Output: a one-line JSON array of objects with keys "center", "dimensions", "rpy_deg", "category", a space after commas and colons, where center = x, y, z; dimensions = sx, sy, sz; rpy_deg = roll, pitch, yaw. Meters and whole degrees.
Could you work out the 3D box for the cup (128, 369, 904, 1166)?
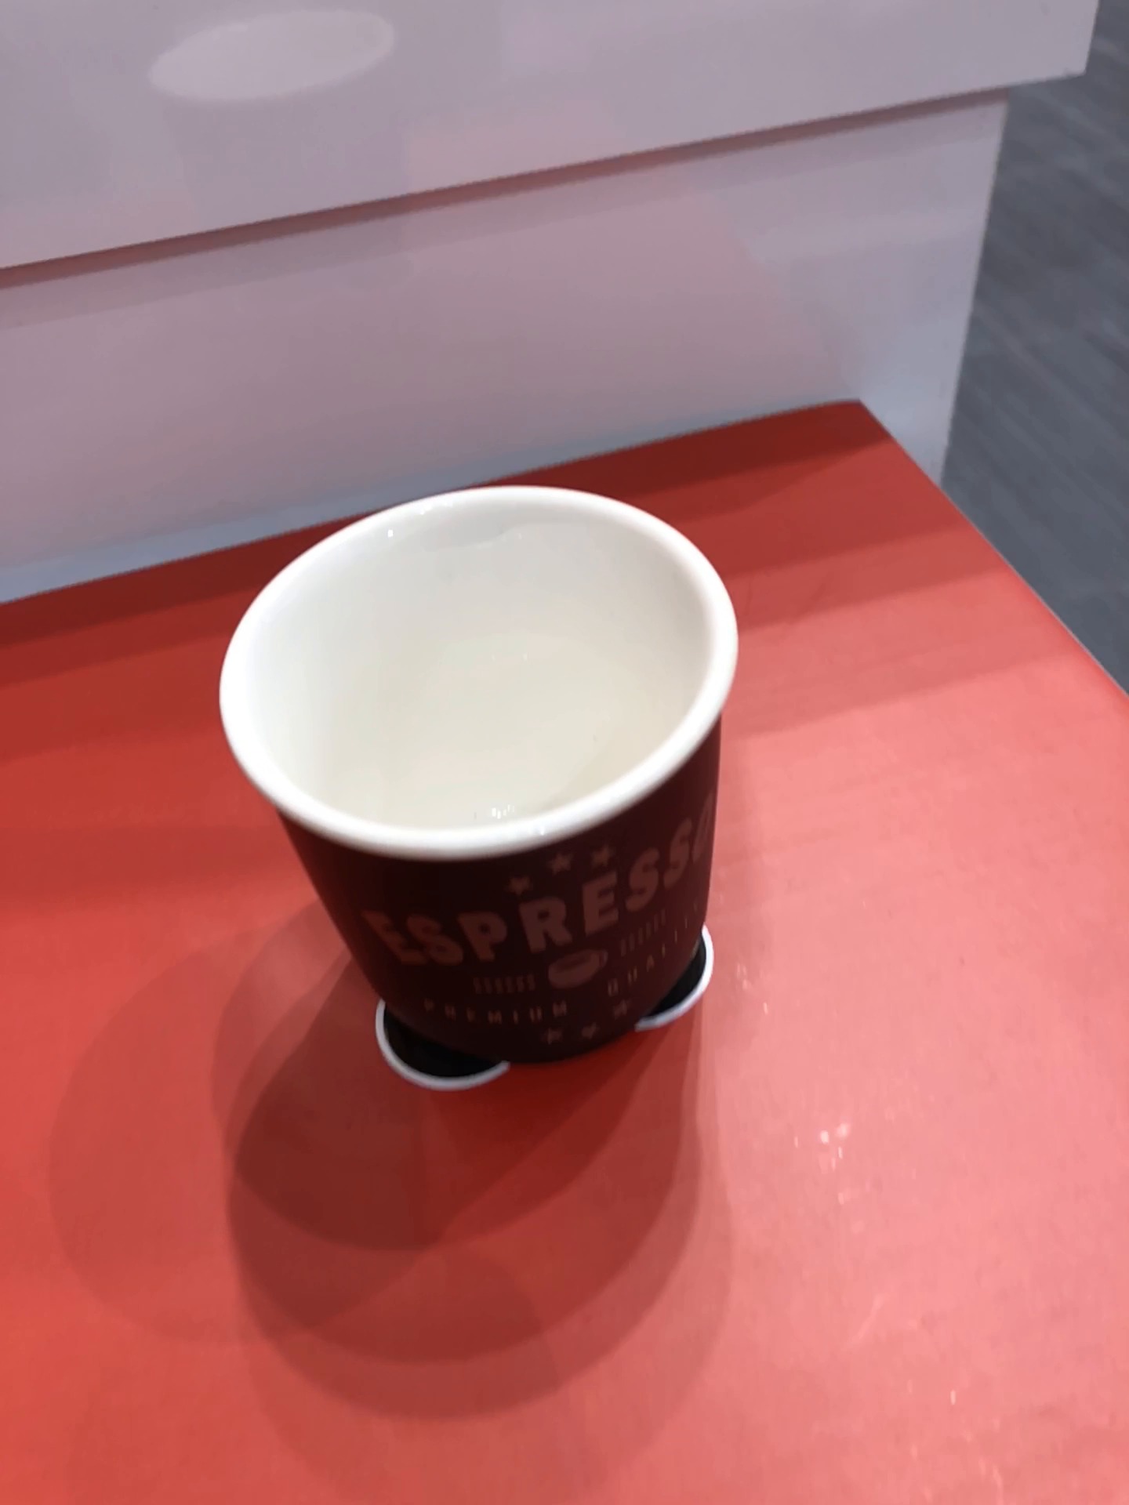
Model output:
[{"center": [-0.006, 0.000, 0.170], "dimensions": [0.070, 0.060, 0.060], "rpy_deg": [-25, 50, -18], "category": "cup"}]
